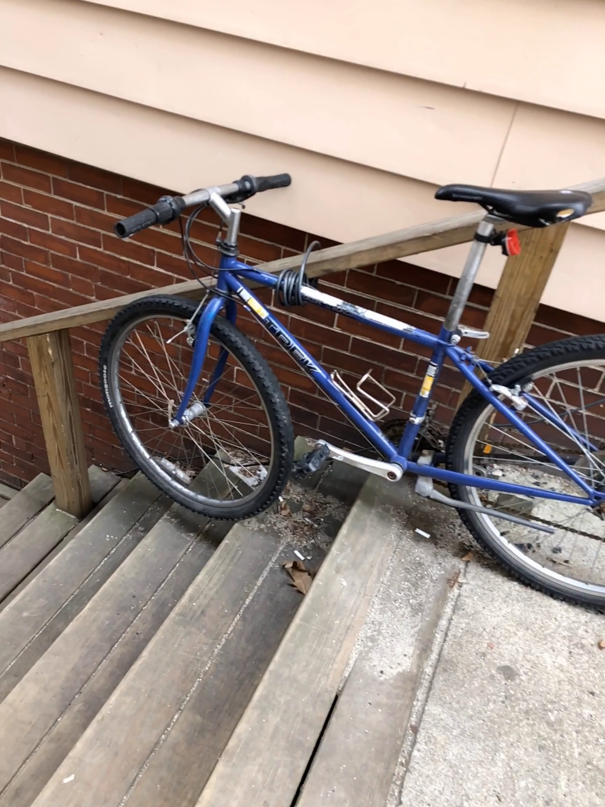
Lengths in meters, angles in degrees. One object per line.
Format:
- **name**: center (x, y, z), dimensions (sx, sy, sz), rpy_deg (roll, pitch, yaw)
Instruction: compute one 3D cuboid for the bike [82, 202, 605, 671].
- **bike**: center (0.215, -0.040, 1.611), dimensions (1.521, 0.619, 0.535), rpy_deg (13, 35, 22)
